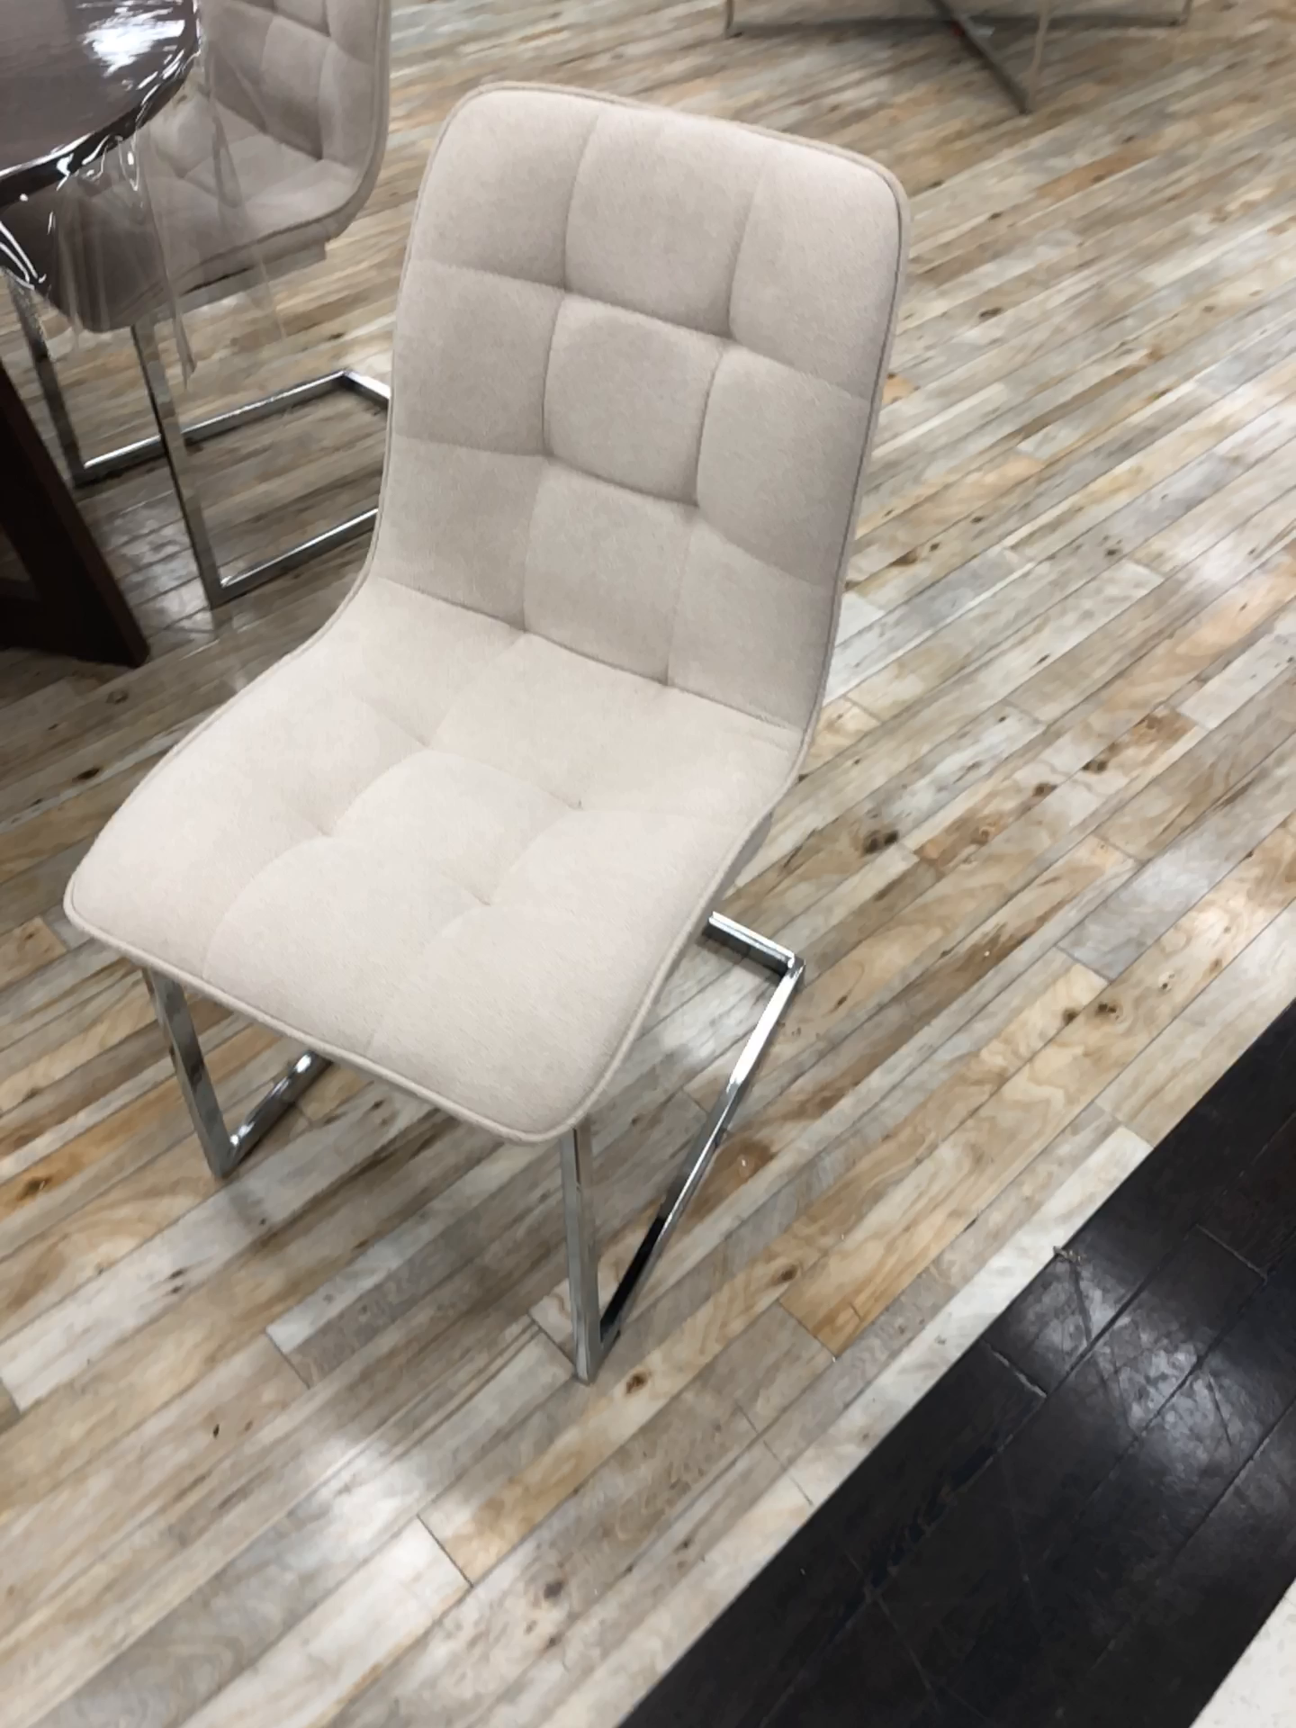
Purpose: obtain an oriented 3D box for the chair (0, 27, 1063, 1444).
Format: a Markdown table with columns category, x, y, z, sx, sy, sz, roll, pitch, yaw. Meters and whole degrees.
| category | x | y | z | sx | sy | sz | roll | pitch | yaw |
| --- | --- | --- | --- | --- | --- | --- | --- | --- | --- |
| chair | -0.091 | -0.085 | 1.143 | 0.490 | 0.837 | 0.592 | 23 | 50 | 20 |
